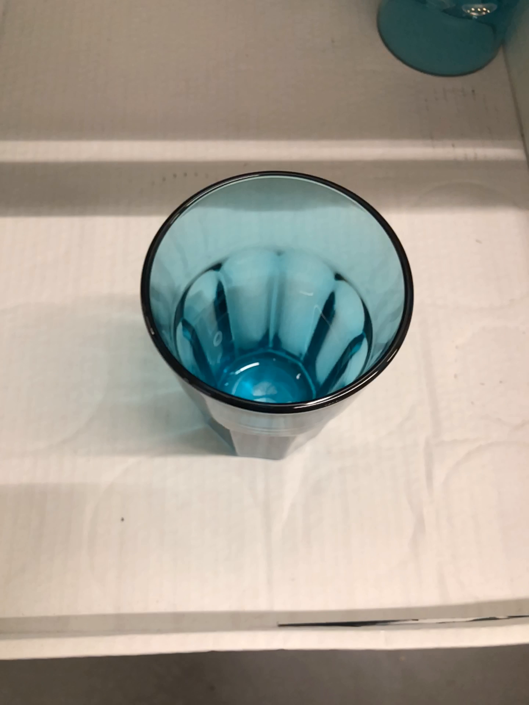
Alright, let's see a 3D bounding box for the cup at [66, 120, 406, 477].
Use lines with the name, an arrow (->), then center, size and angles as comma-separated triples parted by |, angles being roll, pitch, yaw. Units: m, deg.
cup -> -0.008, -0.010, 0.220 | 0.089, 0.102, 0.092 | 1, 70, -3
